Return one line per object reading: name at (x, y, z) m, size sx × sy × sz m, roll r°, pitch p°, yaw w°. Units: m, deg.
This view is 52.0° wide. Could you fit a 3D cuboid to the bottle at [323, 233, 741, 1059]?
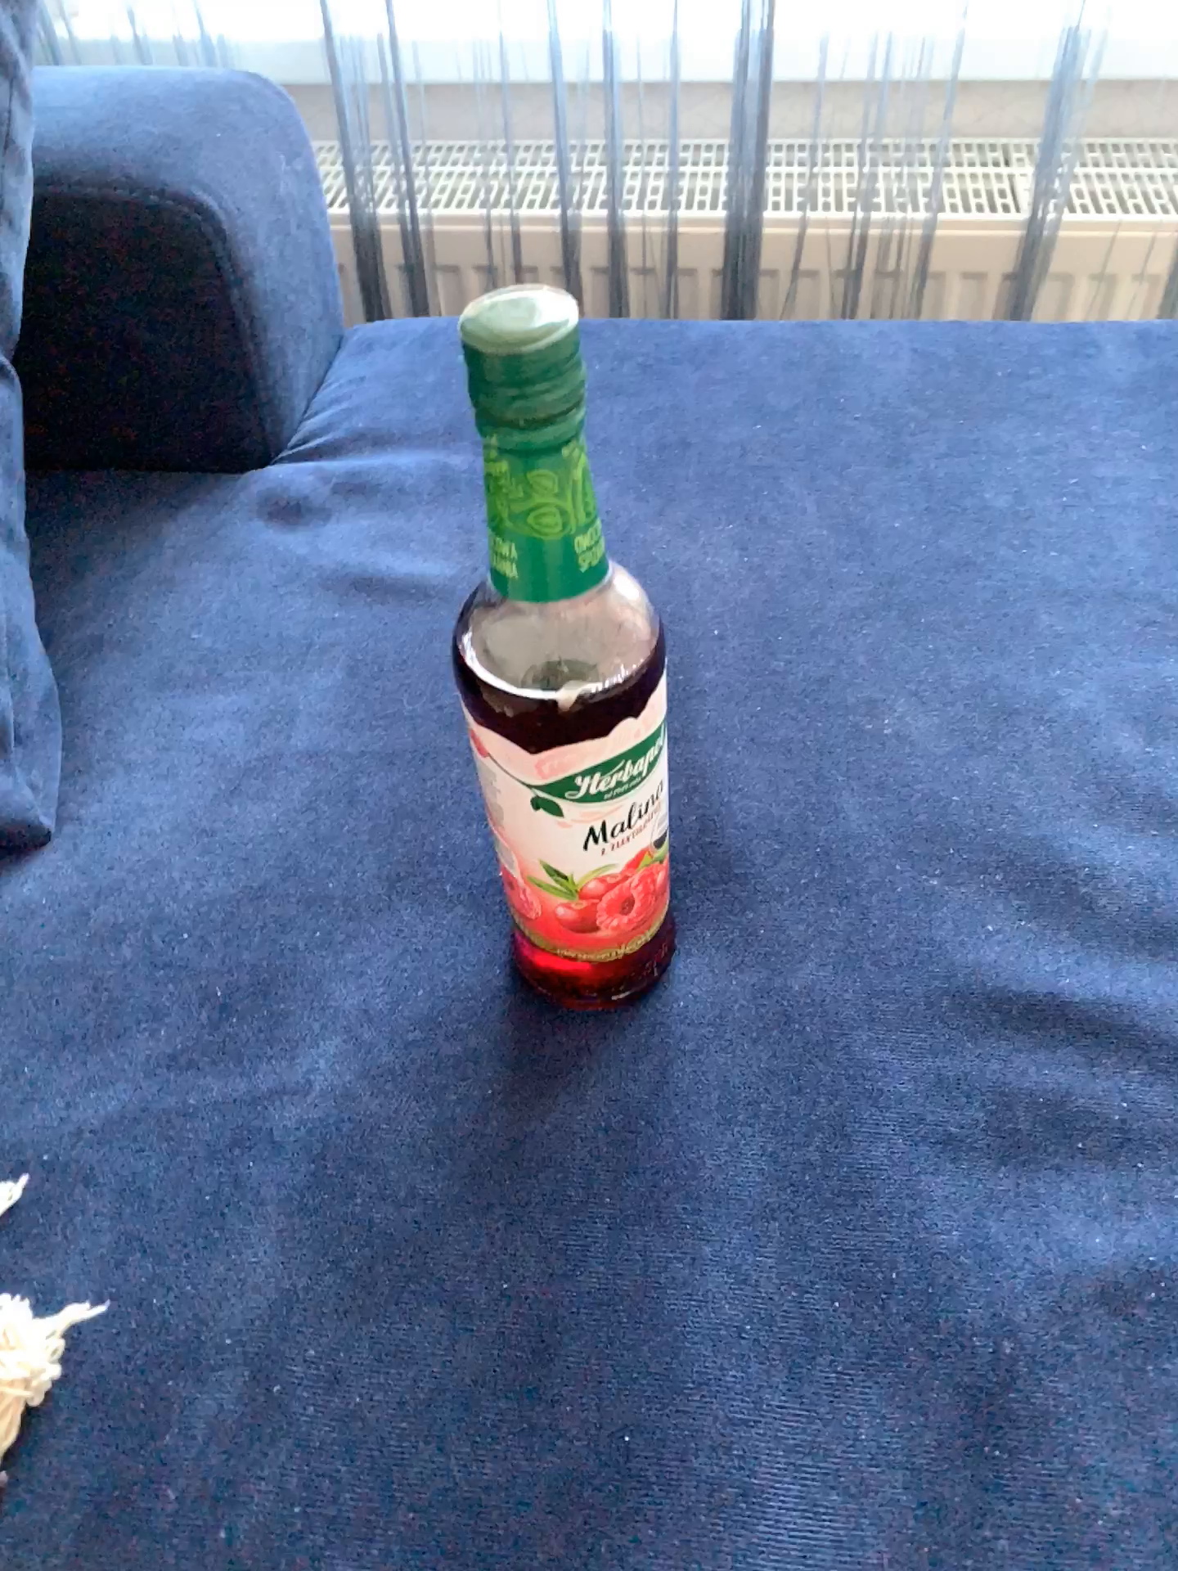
bottle at (-0.009, -0.022, 0.370) m, size 0.070 × 0.249 × 0.070 m, roll -2°, pitch 48°, yaw 2°
